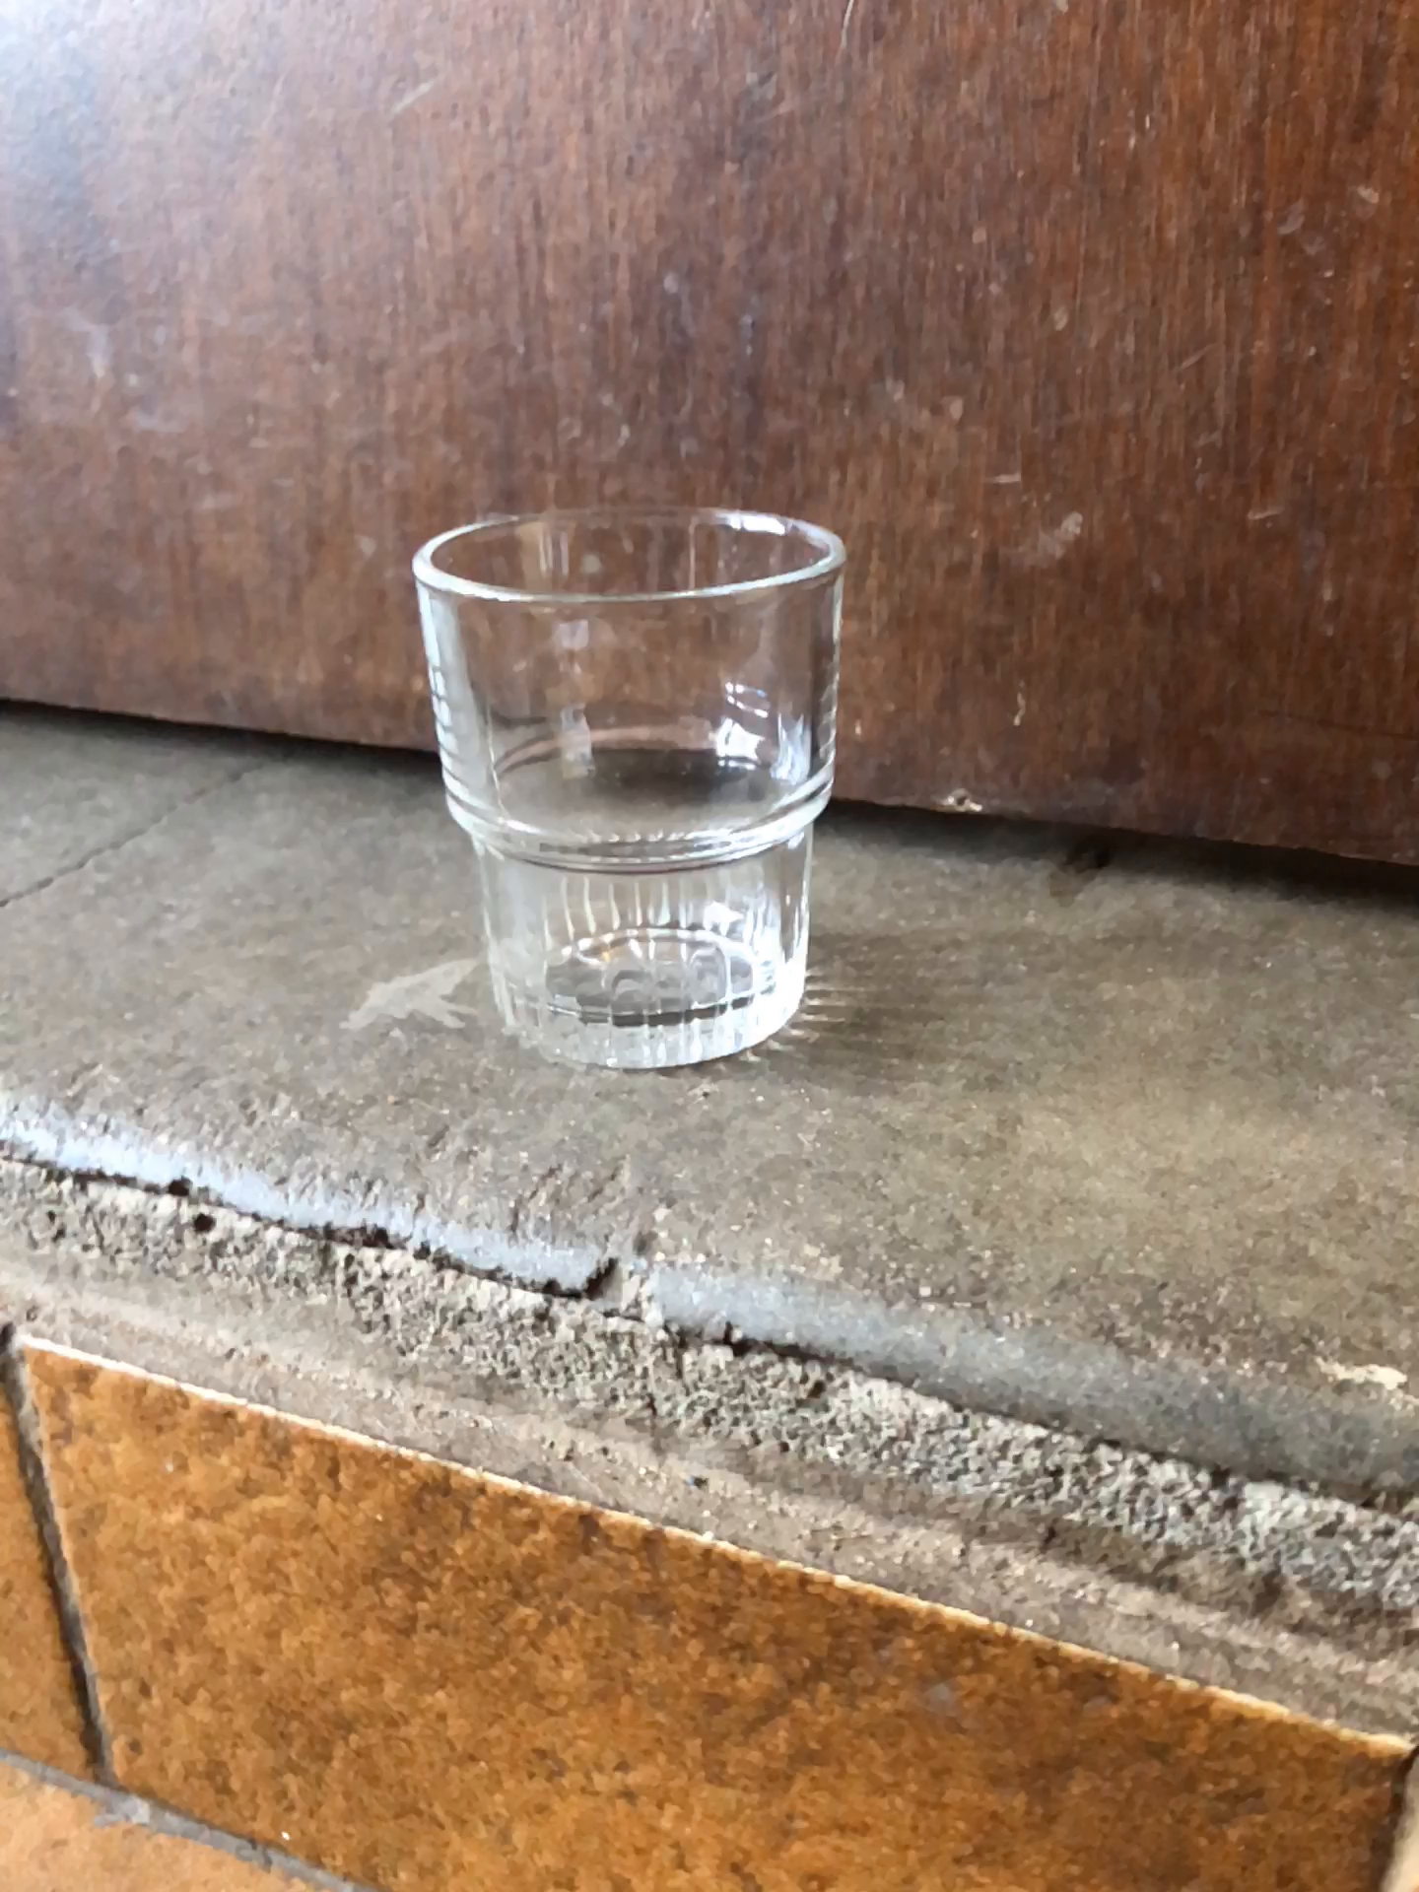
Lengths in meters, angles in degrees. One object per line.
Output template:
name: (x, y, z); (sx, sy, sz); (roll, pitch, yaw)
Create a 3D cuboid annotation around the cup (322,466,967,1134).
cup: (-0.008, -0.030, 0.258); (0.070, 0.080, 0.070); (-1, 25, 0)
